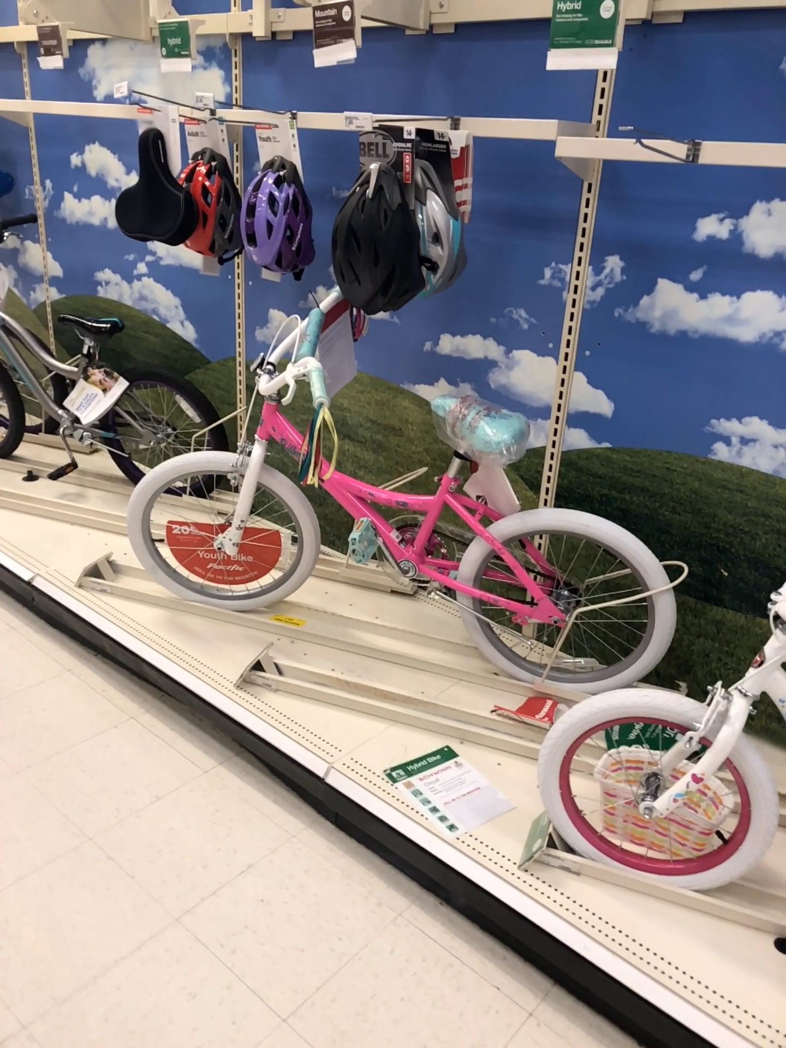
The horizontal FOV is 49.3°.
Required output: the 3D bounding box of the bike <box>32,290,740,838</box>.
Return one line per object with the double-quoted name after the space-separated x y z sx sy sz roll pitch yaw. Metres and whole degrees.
-0.016 -0.024 2.016 1.346 0.883 0.729 9 23 17 "bike"
